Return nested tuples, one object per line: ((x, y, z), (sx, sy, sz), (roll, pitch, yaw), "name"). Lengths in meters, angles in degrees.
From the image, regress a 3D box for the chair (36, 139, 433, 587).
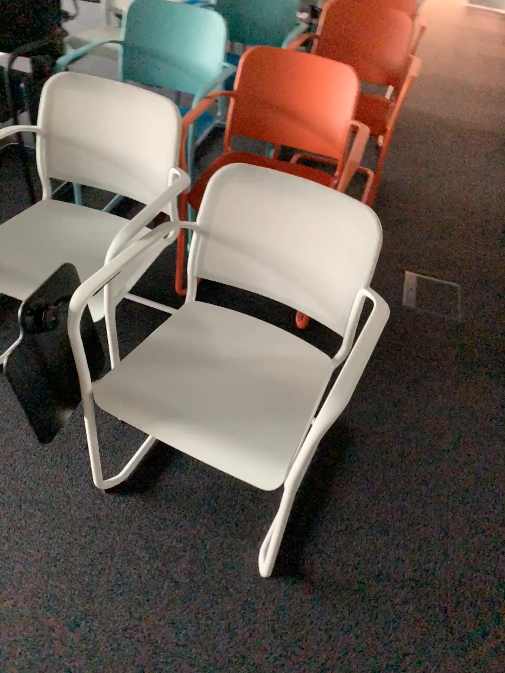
((-0.029, 0.071, 1.238), (0.561, 0.756, 0.553), (23, 47, 14), "chair")
